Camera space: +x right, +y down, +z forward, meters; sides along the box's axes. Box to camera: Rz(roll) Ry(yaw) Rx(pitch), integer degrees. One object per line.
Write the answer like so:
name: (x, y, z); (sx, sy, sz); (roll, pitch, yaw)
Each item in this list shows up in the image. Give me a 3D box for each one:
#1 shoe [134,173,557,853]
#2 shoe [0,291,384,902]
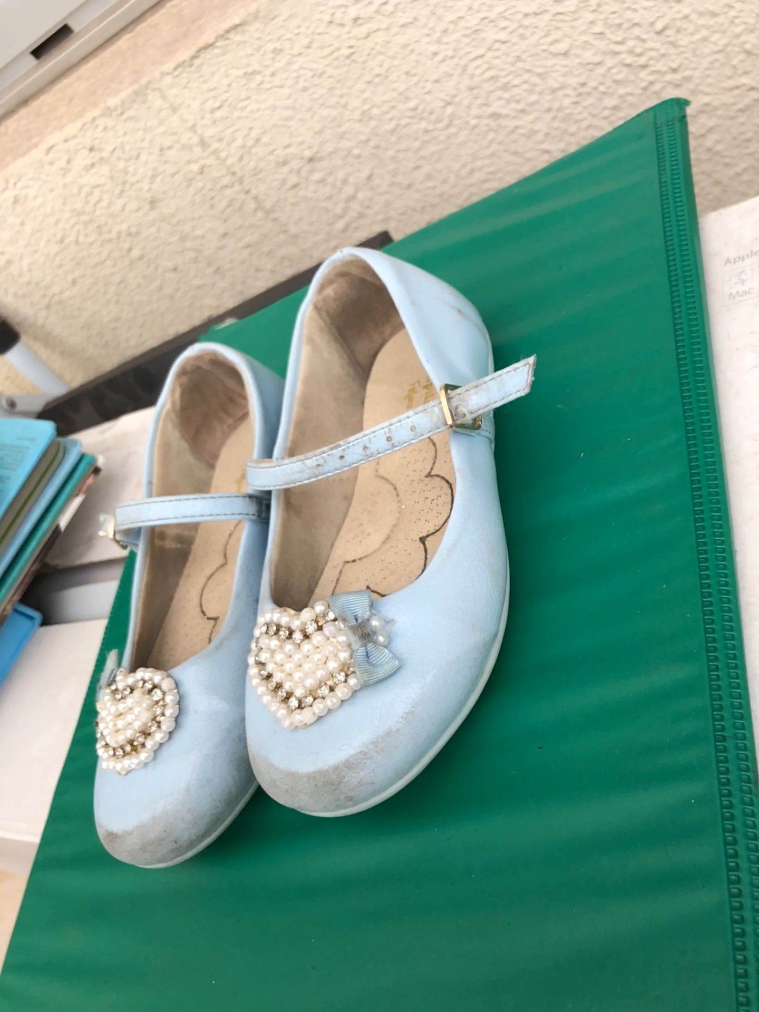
shoe: (0.000, -0.001, 0.232); (0.080, 0.050, 0.170); (-14, 53, 31)
shoe: (-0.056, 0.025, 0.265); (0.087, 0.050, 0.170); (-14, 53, 31)
